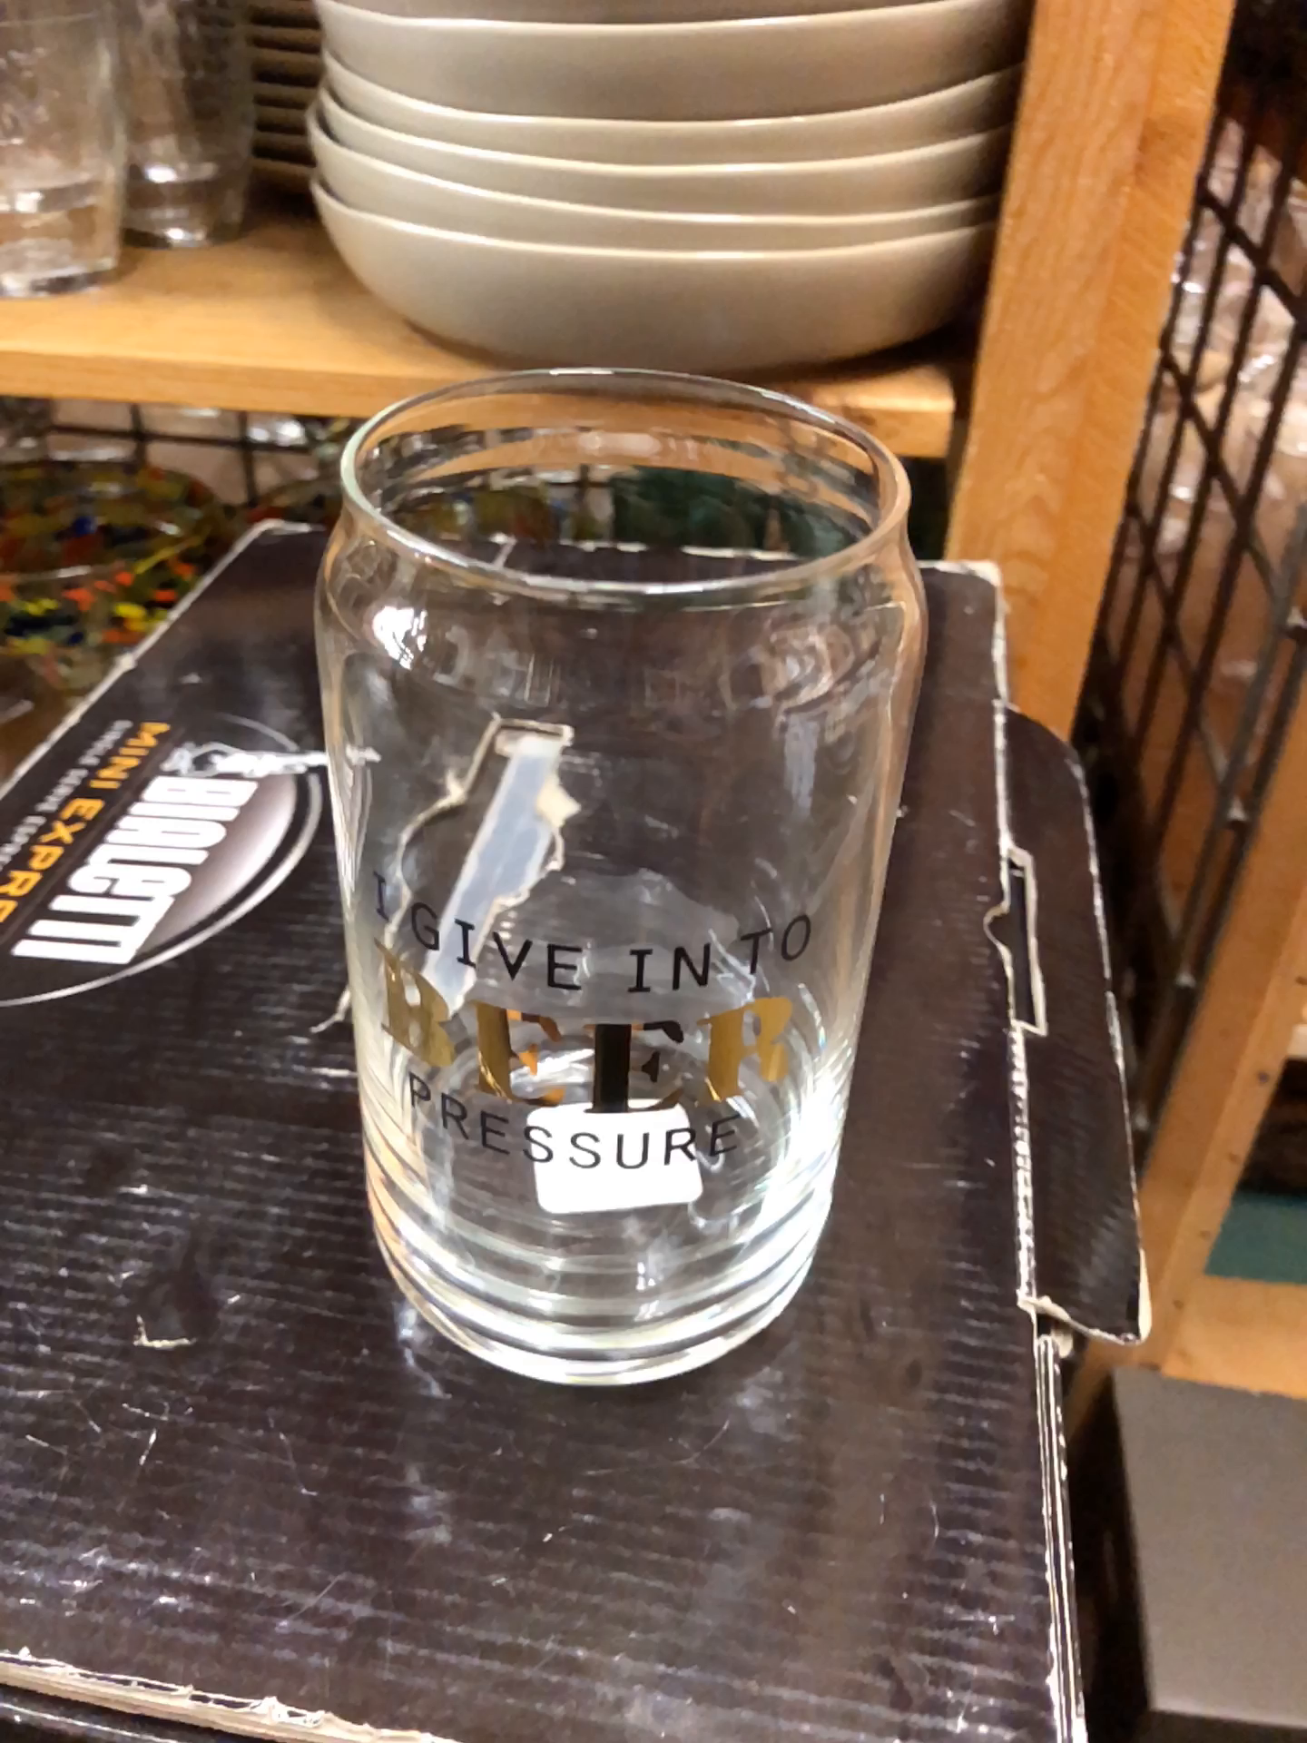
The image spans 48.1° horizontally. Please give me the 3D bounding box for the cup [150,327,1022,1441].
[{"bbox_3d":[-0.002,-0.001,0.202,0.081,0.116,0.088,1,35,-1],"label":"cup"}]
